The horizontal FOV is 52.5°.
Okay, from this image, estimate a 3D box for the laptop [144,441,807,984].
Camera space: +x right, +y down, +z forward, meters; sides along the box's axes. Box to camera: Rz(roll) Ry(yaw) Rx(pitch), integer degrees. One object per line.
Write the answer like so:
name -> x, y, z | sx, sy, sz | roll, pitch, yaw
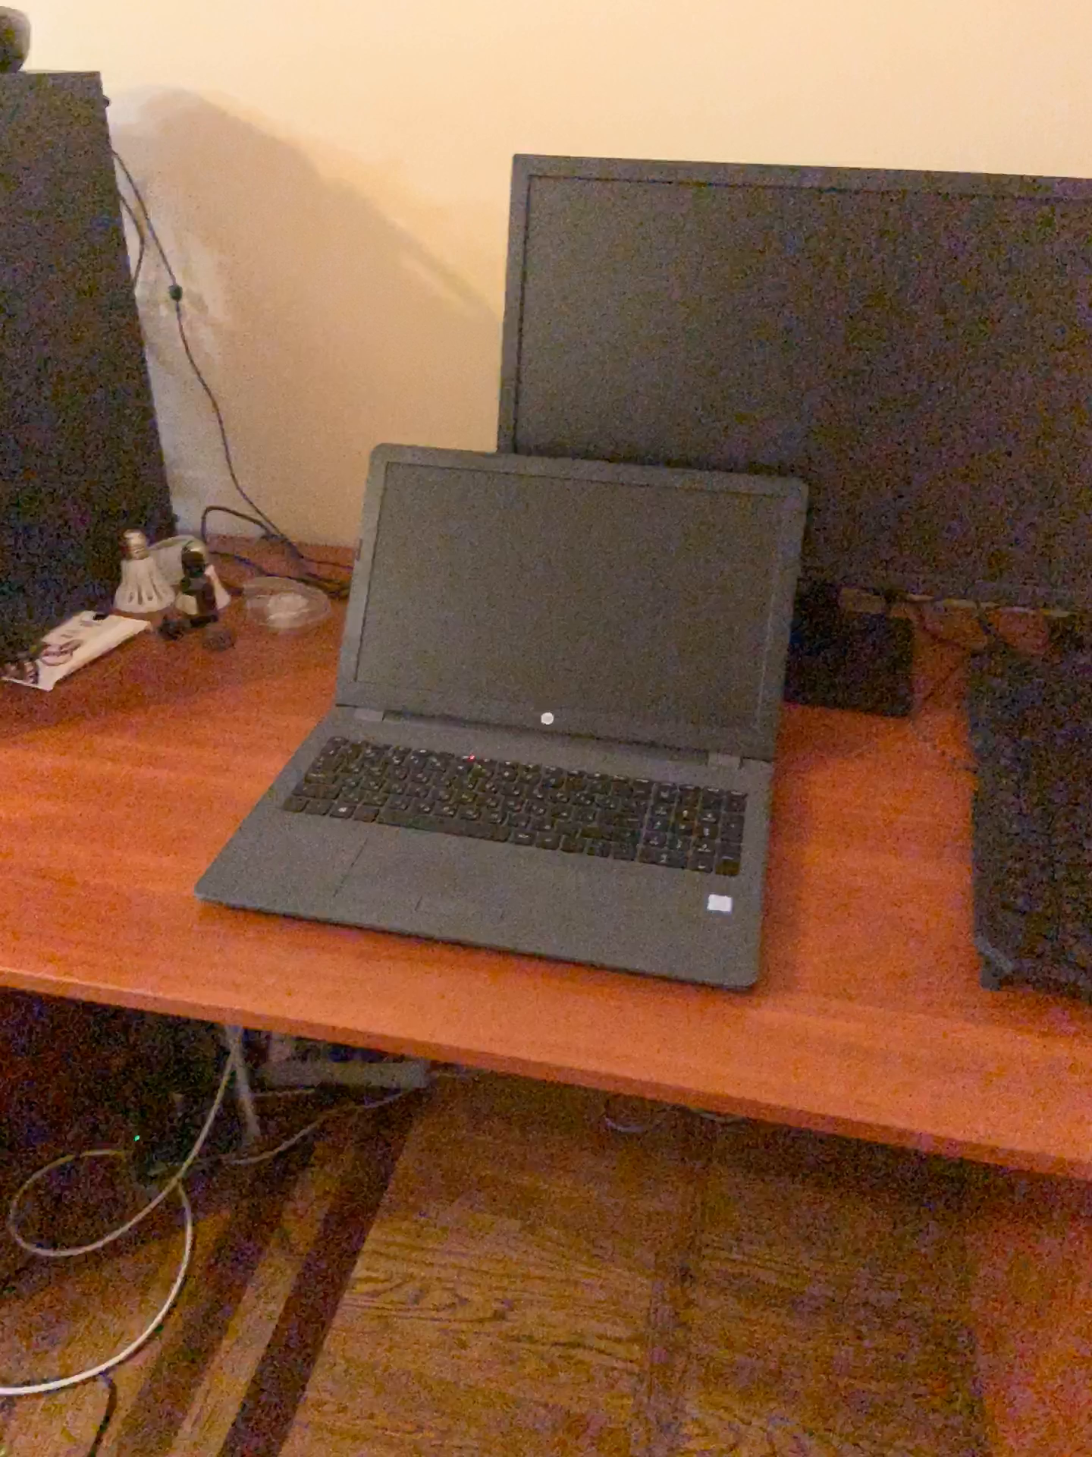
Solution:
laptop -> -0.011, -0.048, 0.820 | 0.372, 0.188, 0.393 | 7, 32, 9
